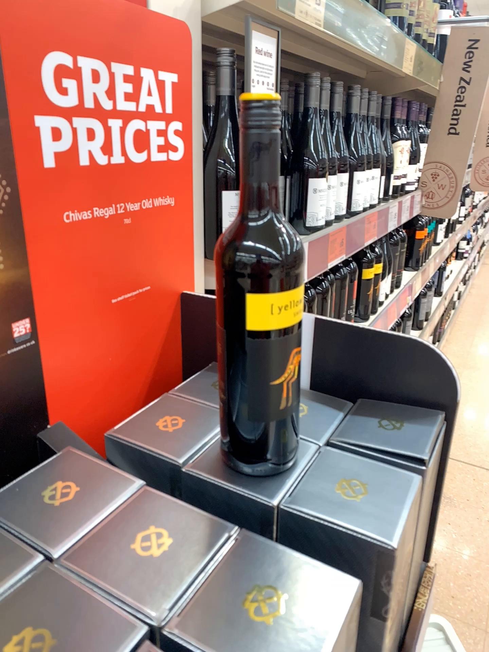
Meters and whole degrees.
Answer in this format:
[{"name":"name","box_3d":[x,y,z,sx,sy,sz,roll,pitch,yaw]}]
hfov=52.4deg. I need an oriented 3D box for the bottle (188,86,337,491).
[{"name":"bottle","box_3d":[0.012,-0.027,0.417,0.081,0.308,0.087,1,20,-1]}]
